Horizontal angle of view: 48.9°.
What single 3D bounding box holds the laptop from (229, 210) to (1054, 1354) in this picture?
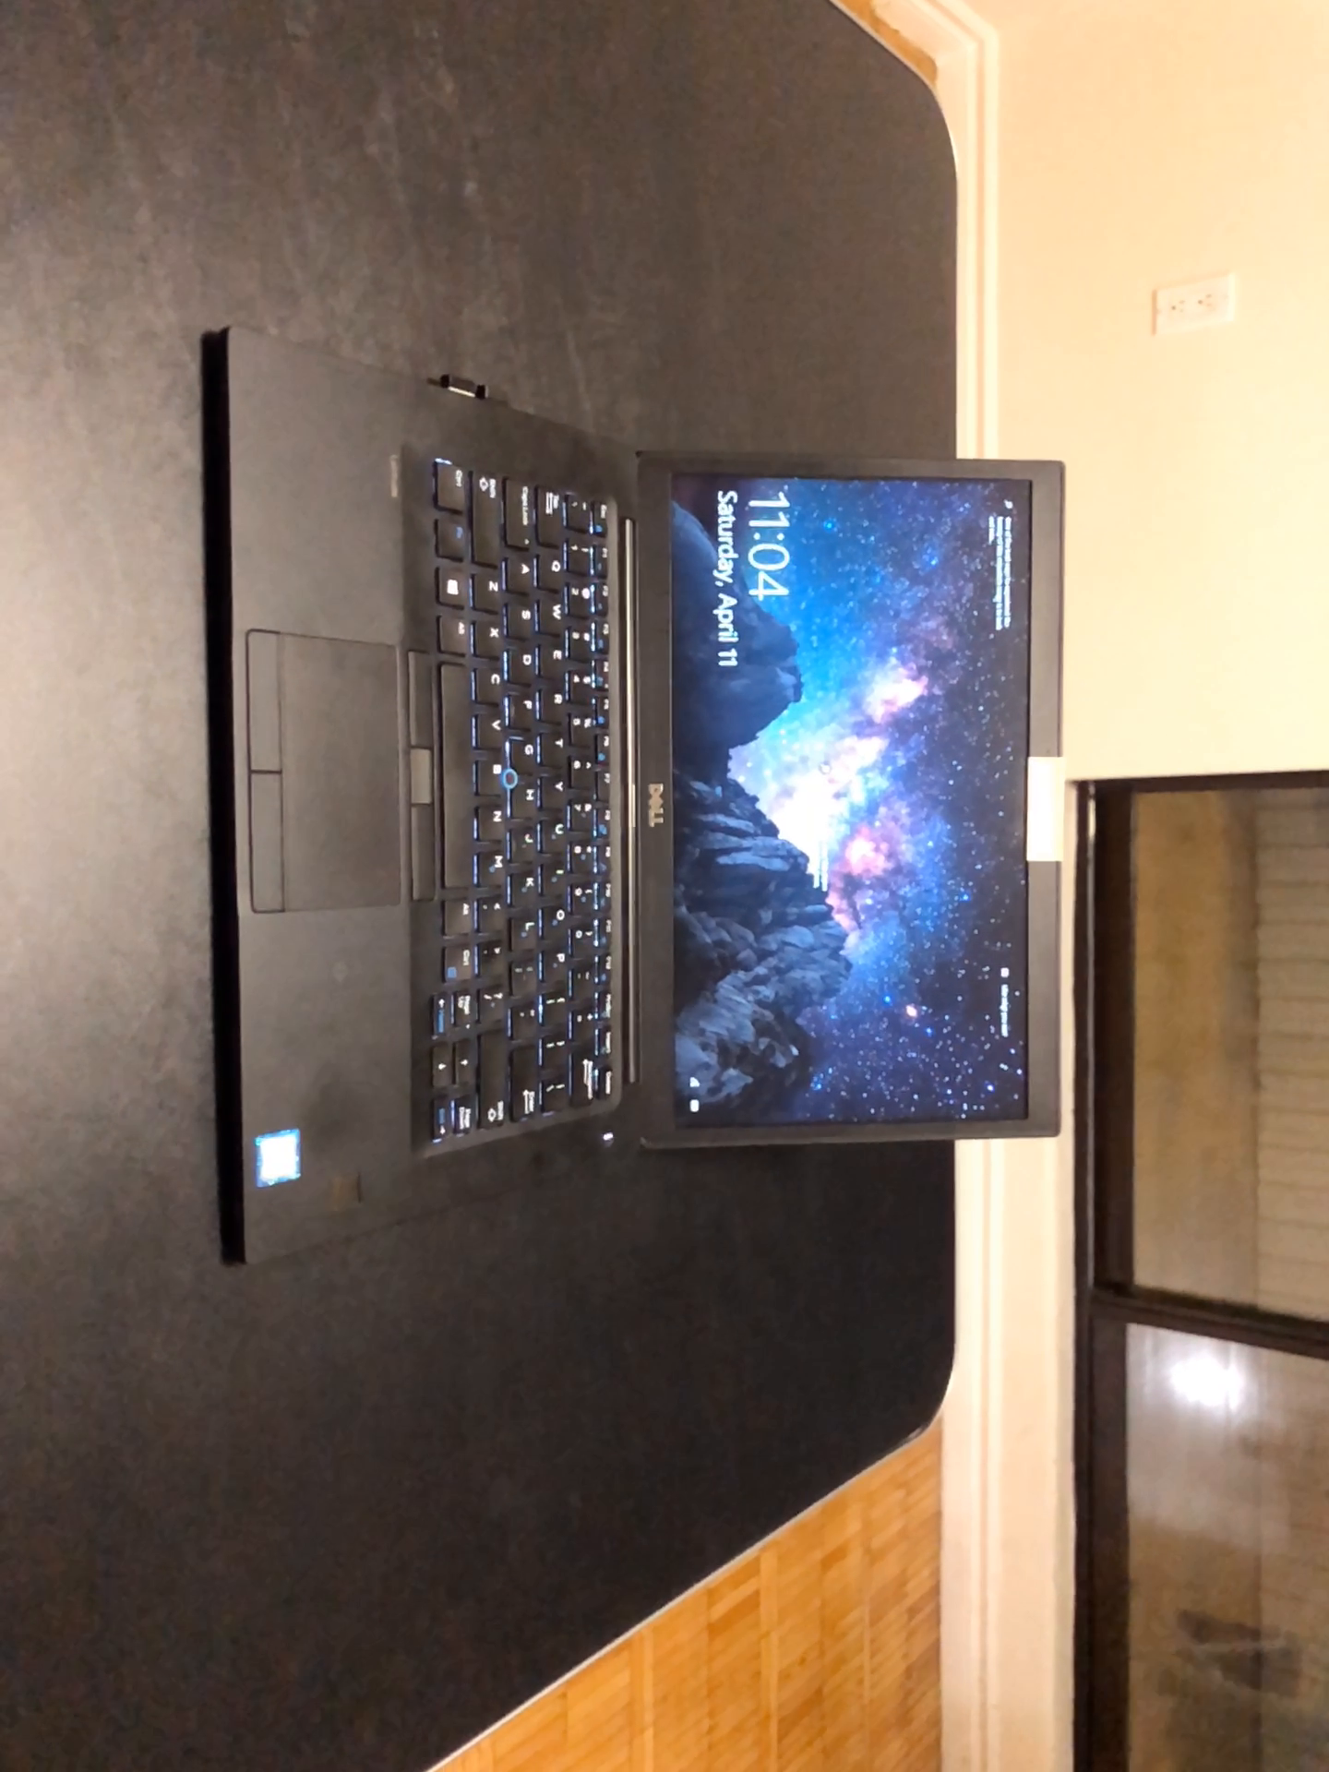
[{"bbox_3d":[0.022,-0.034,0.600,0.370,0.140,0.319,-4,94,-53],"label":"laptop"}]
